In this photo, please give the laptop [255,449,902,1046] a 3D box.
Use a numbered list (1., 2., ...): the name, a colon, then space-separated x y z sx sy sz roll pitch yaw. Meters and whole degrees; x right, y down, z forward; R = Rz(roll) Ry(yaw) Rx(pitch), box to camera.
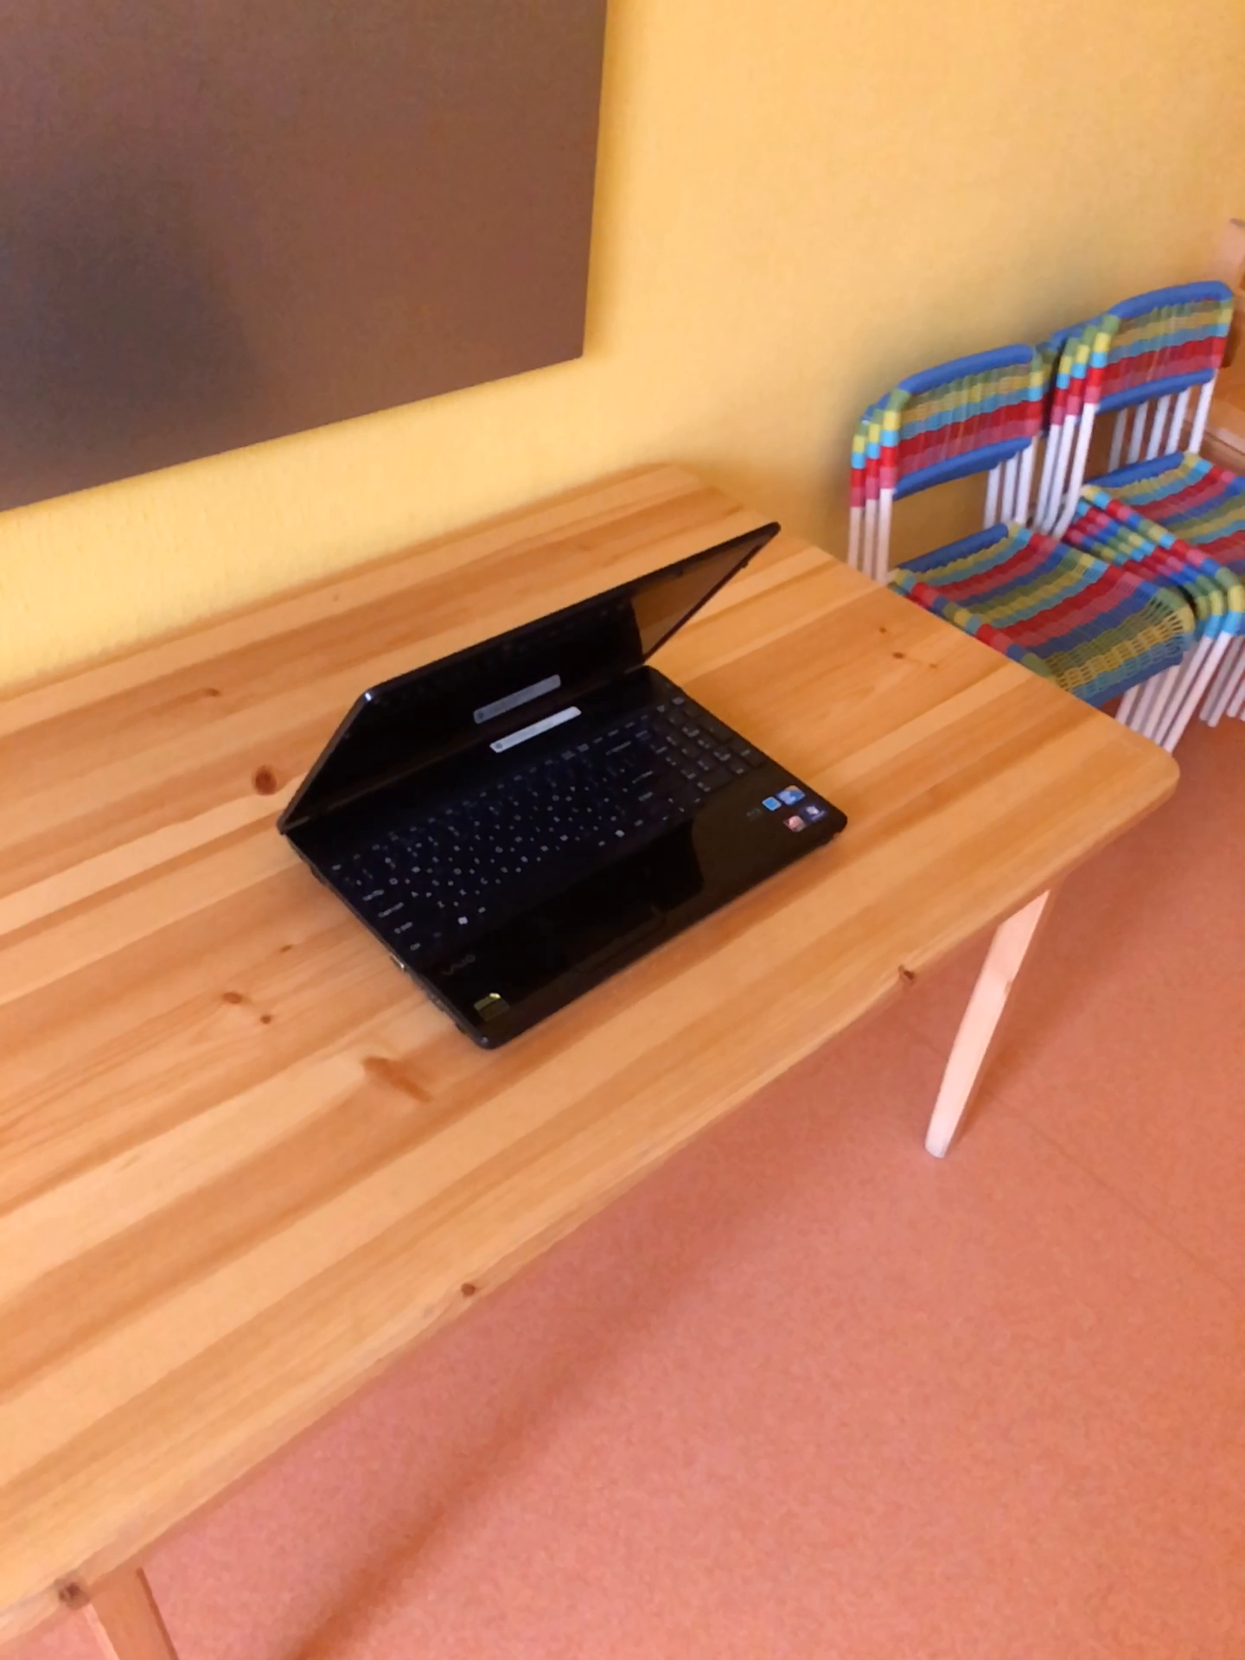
1. laptop: -0.028 -0.079 0.979 0.363 0.200 0.247 -29 53 -33
